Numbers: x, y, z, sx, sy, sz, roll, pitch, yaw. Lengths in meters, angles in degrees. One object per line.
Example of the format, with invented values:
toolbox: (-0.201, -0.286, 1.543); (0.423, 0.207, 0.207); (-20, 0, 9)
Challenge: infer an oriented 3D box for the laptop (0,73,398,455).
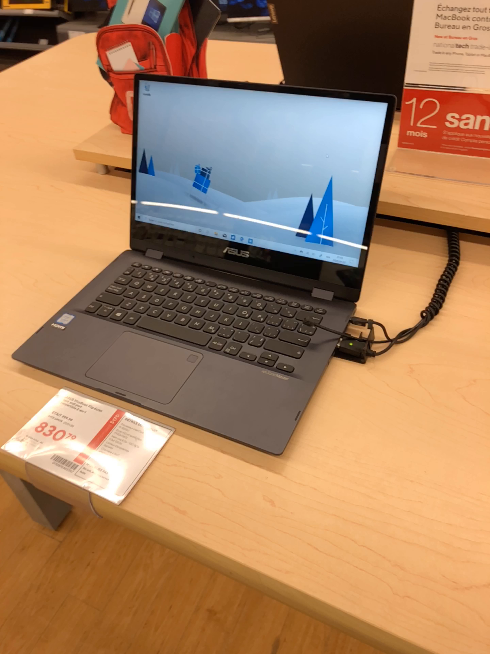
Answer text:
laptop: (-0.048, -0.099, 0.563); (0.313, 0.188, 0.314); (16, 47, 23)
